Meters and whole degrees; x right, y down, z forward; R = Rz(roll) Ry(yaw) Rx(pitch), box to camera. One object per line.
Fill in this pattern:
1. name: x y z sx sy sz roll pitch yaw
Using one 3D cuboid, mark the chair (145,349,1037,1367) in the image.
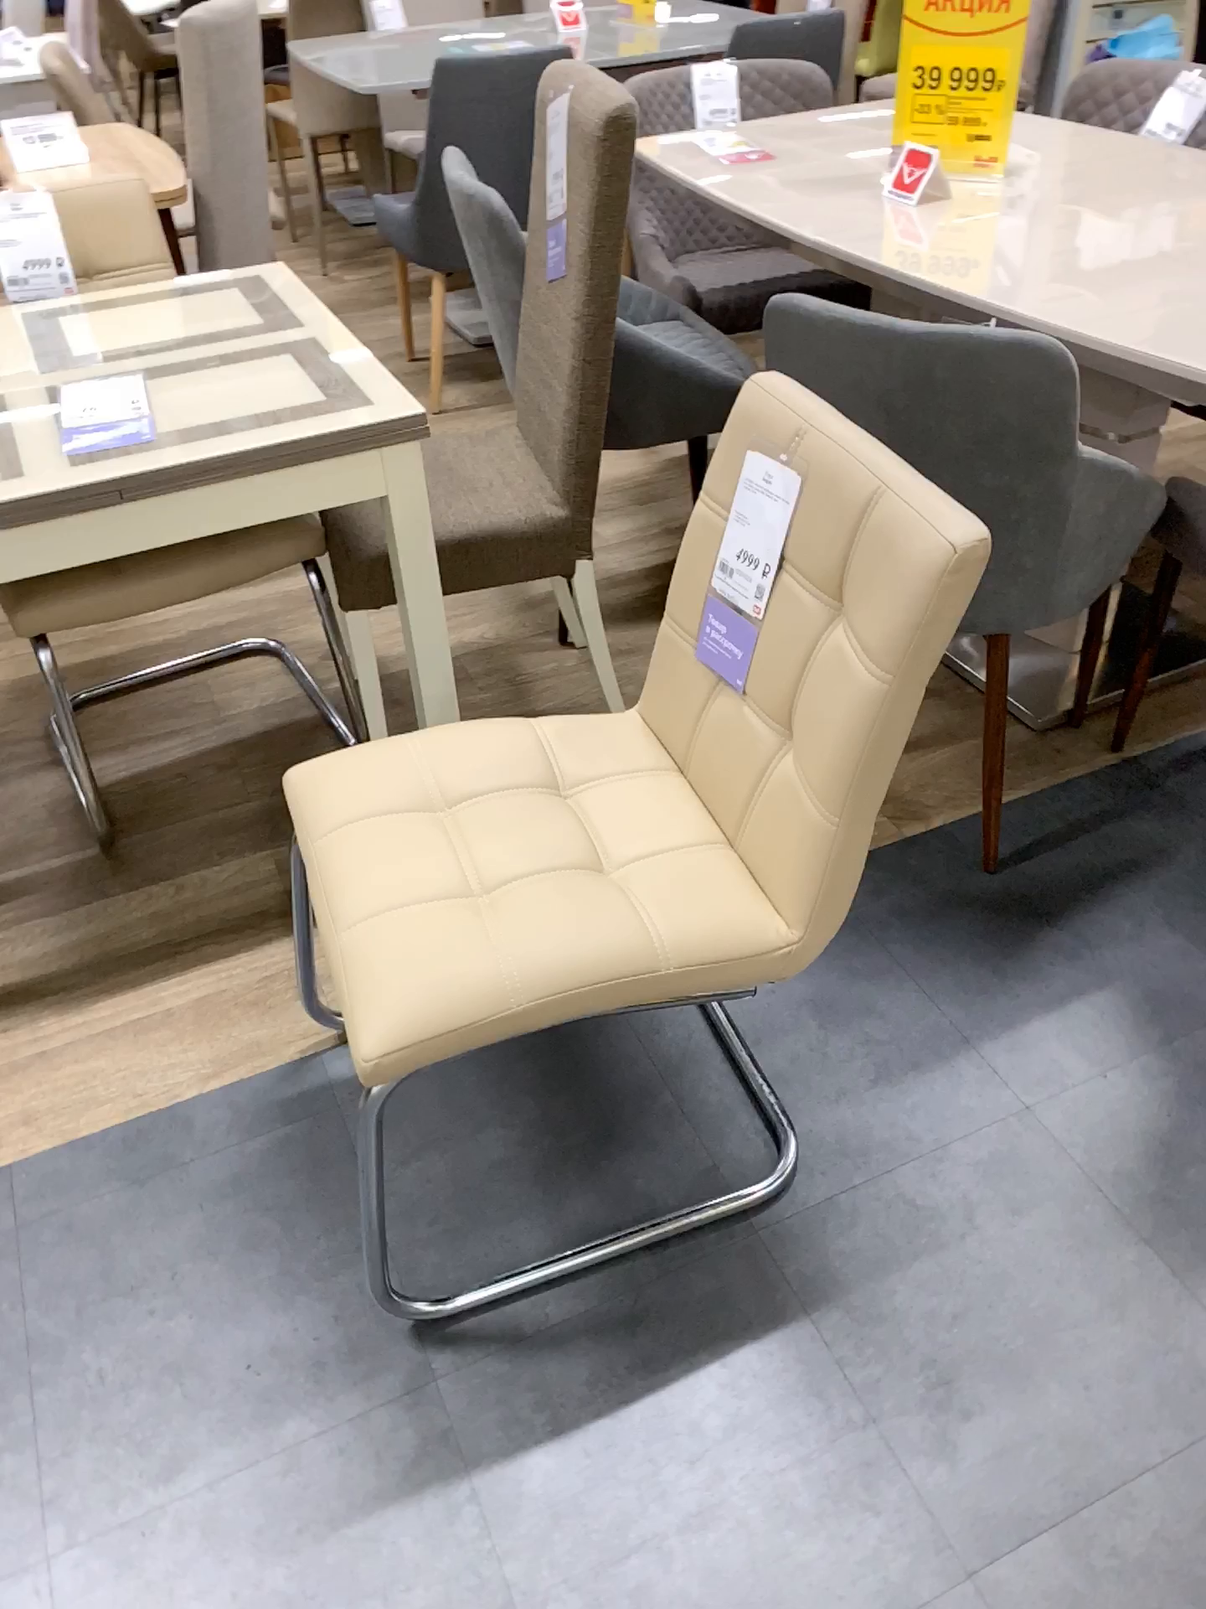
1. chair: -0.039 0.046 1.334 0.651 0.815 0.533 -14 39 -14
